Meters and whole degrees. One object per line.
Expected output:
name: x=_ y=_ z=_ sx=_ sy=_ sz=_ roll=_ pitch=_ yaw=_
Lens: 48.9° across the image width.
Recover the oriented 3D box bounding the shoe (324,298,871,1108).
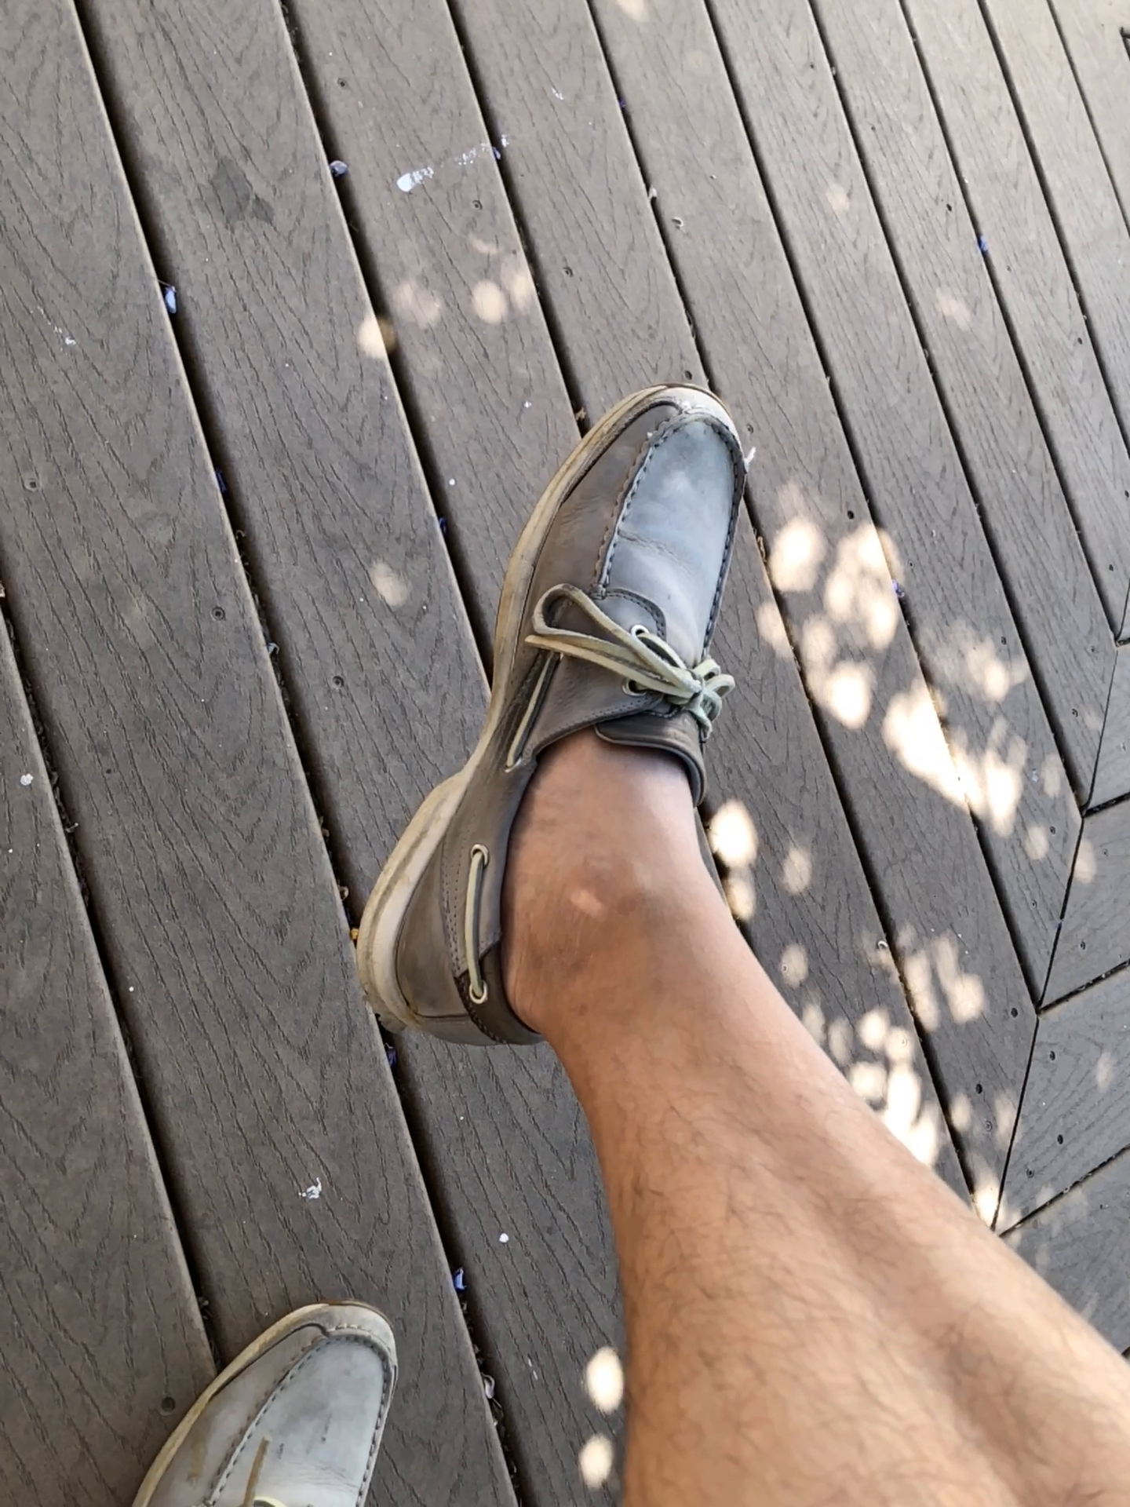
shoe: x=0.018 y=-0.022 z=0.538 sx=0.115 sy=0.085 sz=0.306 roll=26 pitch=77 yaw=-24
